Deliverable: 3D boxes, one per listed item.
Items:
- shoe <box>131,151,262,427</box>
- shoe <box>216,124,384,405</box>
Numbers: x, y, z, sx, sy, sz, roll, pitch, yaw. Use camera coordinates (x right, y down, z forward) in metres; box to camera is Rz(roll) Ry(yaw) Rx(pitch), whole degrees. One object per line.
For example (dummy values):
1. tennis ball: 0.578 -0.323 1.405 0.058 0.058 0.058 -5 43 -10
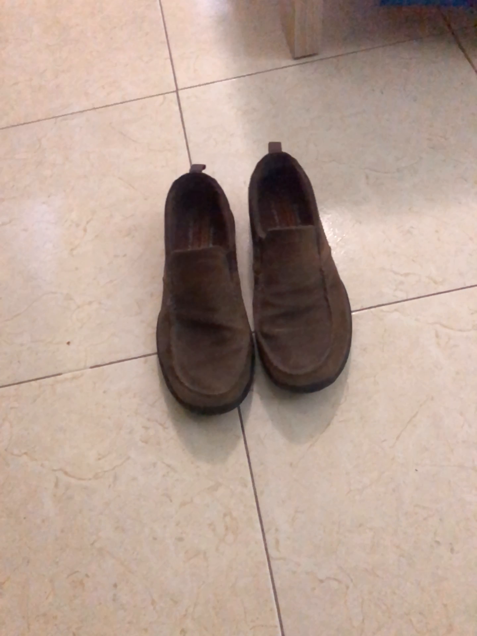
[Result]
1. shoe: -0.049 -0.039 0.615 0.120 0.100 0.300 -7 62 3
2. shoe: 0.060 -0.068 0.608 0.130 0.100 0.300 -9 62 2
